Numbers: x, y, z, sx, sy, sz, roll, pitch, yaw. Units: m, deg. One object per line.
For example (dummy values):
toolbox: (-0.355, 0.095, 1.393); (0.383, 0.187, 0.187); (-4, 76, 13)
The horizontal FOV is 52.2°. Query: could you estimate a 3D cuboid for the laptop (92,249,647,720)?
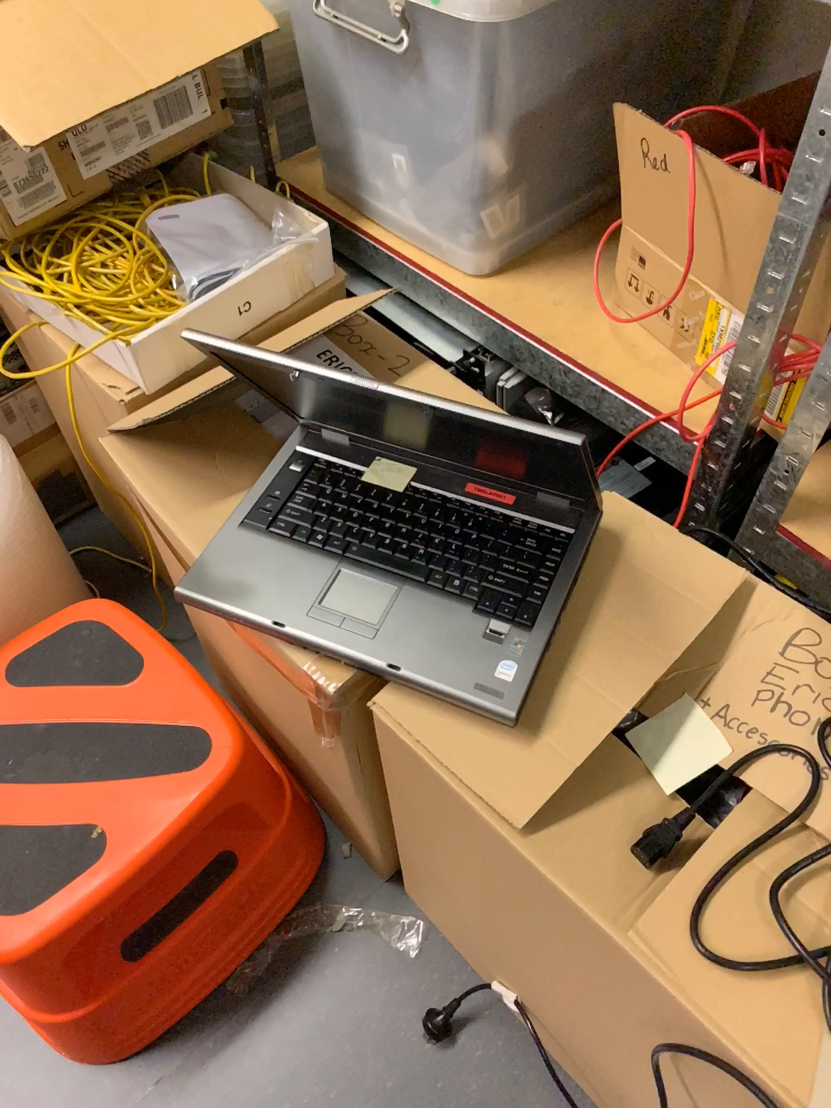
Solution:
laptop: (-0.026, -0.073, 0.761); (0.360, 0.238, 0.263); (18, 54, 17)
